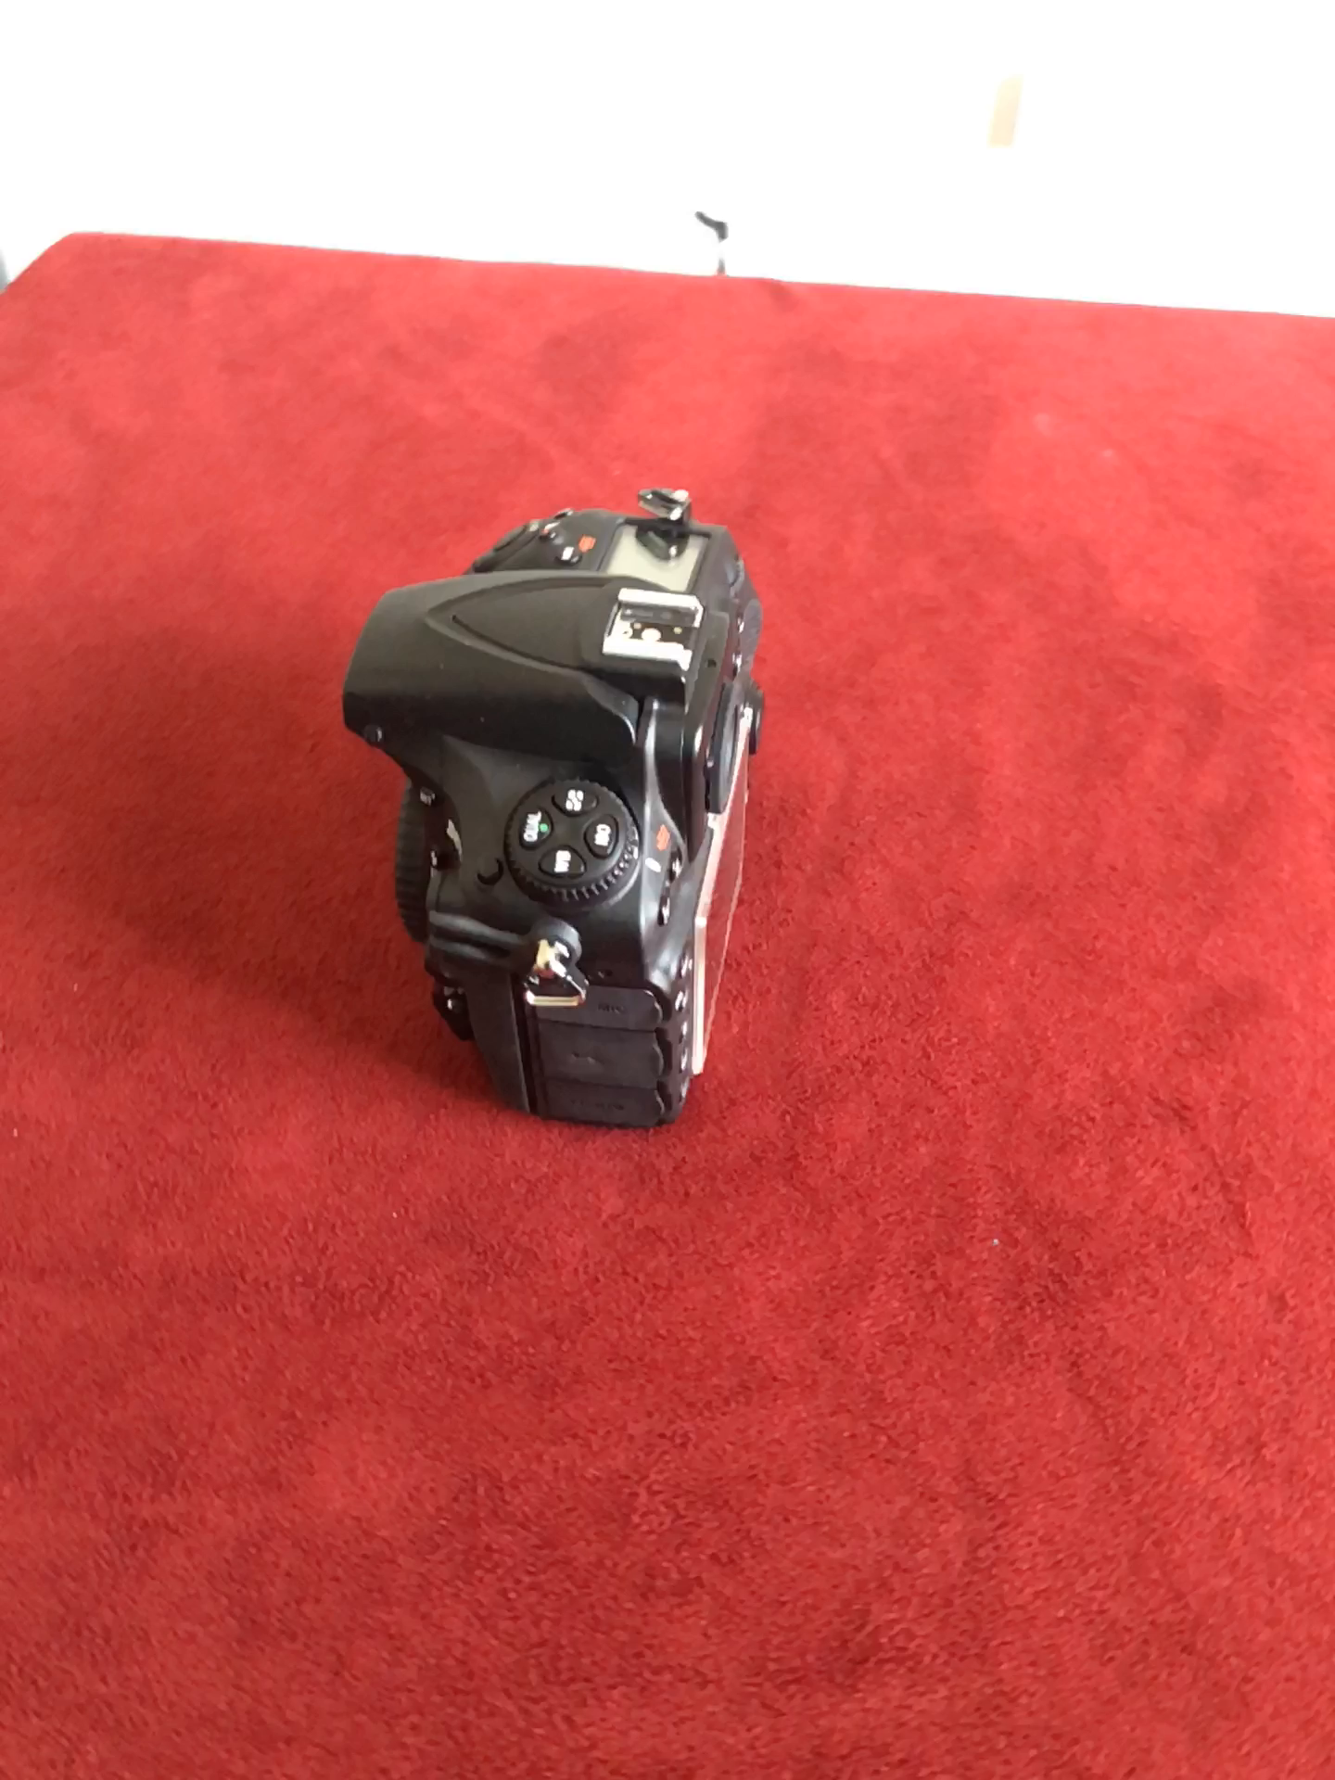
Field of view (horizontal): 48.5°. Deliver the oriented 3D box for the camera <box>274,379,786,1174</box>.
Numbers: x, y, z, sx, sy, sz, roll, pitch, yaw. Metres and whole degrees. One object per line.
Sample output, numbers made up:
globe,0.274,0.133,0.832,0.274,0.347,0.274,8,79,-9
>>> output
camera,-0.021,-0.030,0.375,0.083,0.129,0.146,5,49,8
